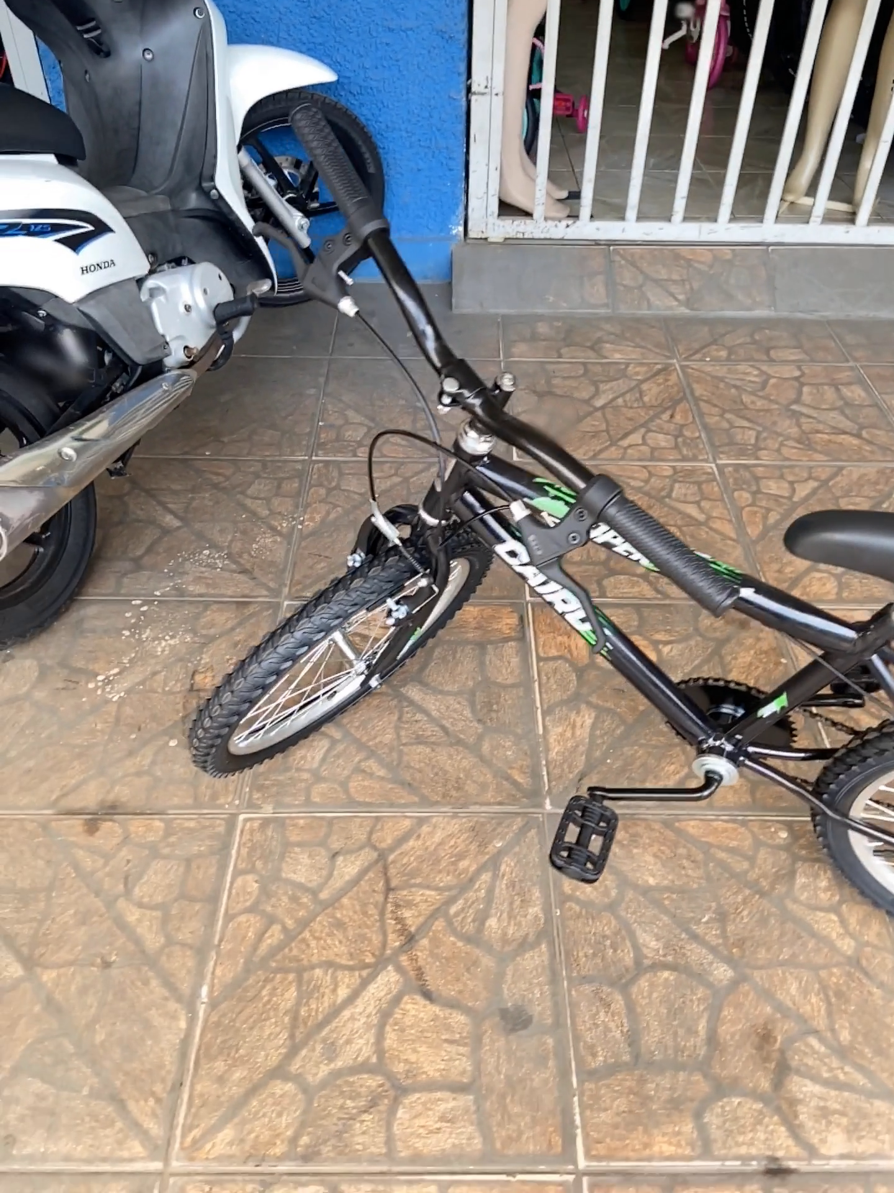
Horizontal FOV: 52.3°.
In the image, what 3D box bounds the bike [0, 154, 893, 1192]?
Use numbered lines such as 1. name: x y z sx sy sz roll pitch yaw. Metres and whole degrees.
1. bike: 0.281 0.144 0.909 1.269 0.934 0.602 8 41 12
